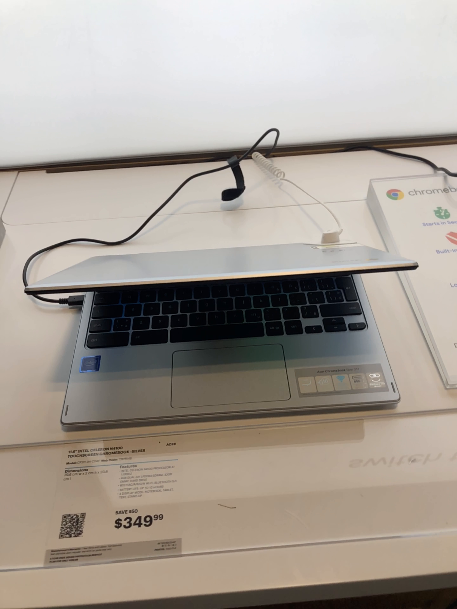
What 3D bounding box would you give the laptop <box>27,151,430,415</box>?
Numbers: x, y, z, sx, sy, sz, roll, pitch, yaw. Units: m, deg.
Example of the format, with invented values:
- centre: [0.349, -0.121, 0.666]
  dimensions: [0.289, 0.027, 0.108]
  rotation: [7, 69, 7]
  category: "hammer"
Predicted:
- centre: [-0.002, -0.026, 0.458]
  dimensions: [0.279, 0.123, 0.192]
  rotation: [-4, 47, -1]
  category: "laptop"
